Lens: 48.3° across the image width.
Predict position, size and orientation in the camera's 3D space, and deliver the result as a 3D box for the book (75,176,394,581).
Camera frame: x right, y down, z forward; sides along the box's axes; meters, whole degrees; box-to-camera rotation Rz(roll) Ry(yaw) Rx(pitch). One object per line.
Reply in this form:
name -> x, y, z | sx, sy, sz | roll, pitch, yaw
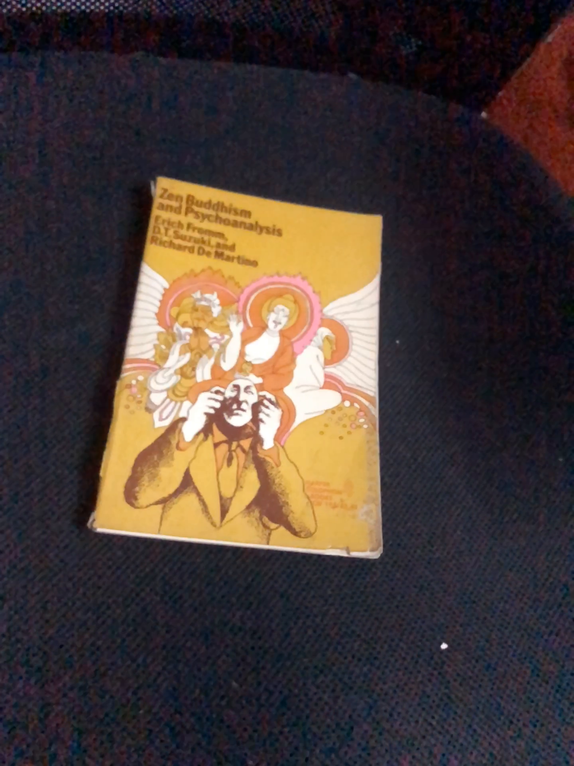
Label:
book -> -0.020, -0.008, 0.321 | 0.137, 0.020, 0.200 | 5, 66, -11
